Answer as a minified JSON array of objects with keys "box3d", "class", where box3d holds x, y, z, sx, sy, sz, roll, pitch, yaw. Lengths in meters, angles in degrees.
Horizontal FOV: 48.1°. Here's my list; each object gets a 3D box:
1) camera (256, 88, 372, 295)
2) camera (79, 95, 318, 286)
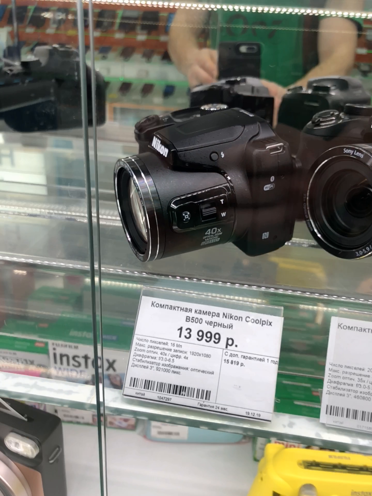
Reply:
[{"box3d":[0.120,-0.047,0.254,0.098,0.084,0.115,-13,28,-25],"class":"camera"},{"box3d":[-0.001,-0.047,0.261,0.098,0.080,0.110,-10,29,-28],"class":"camera"}]
